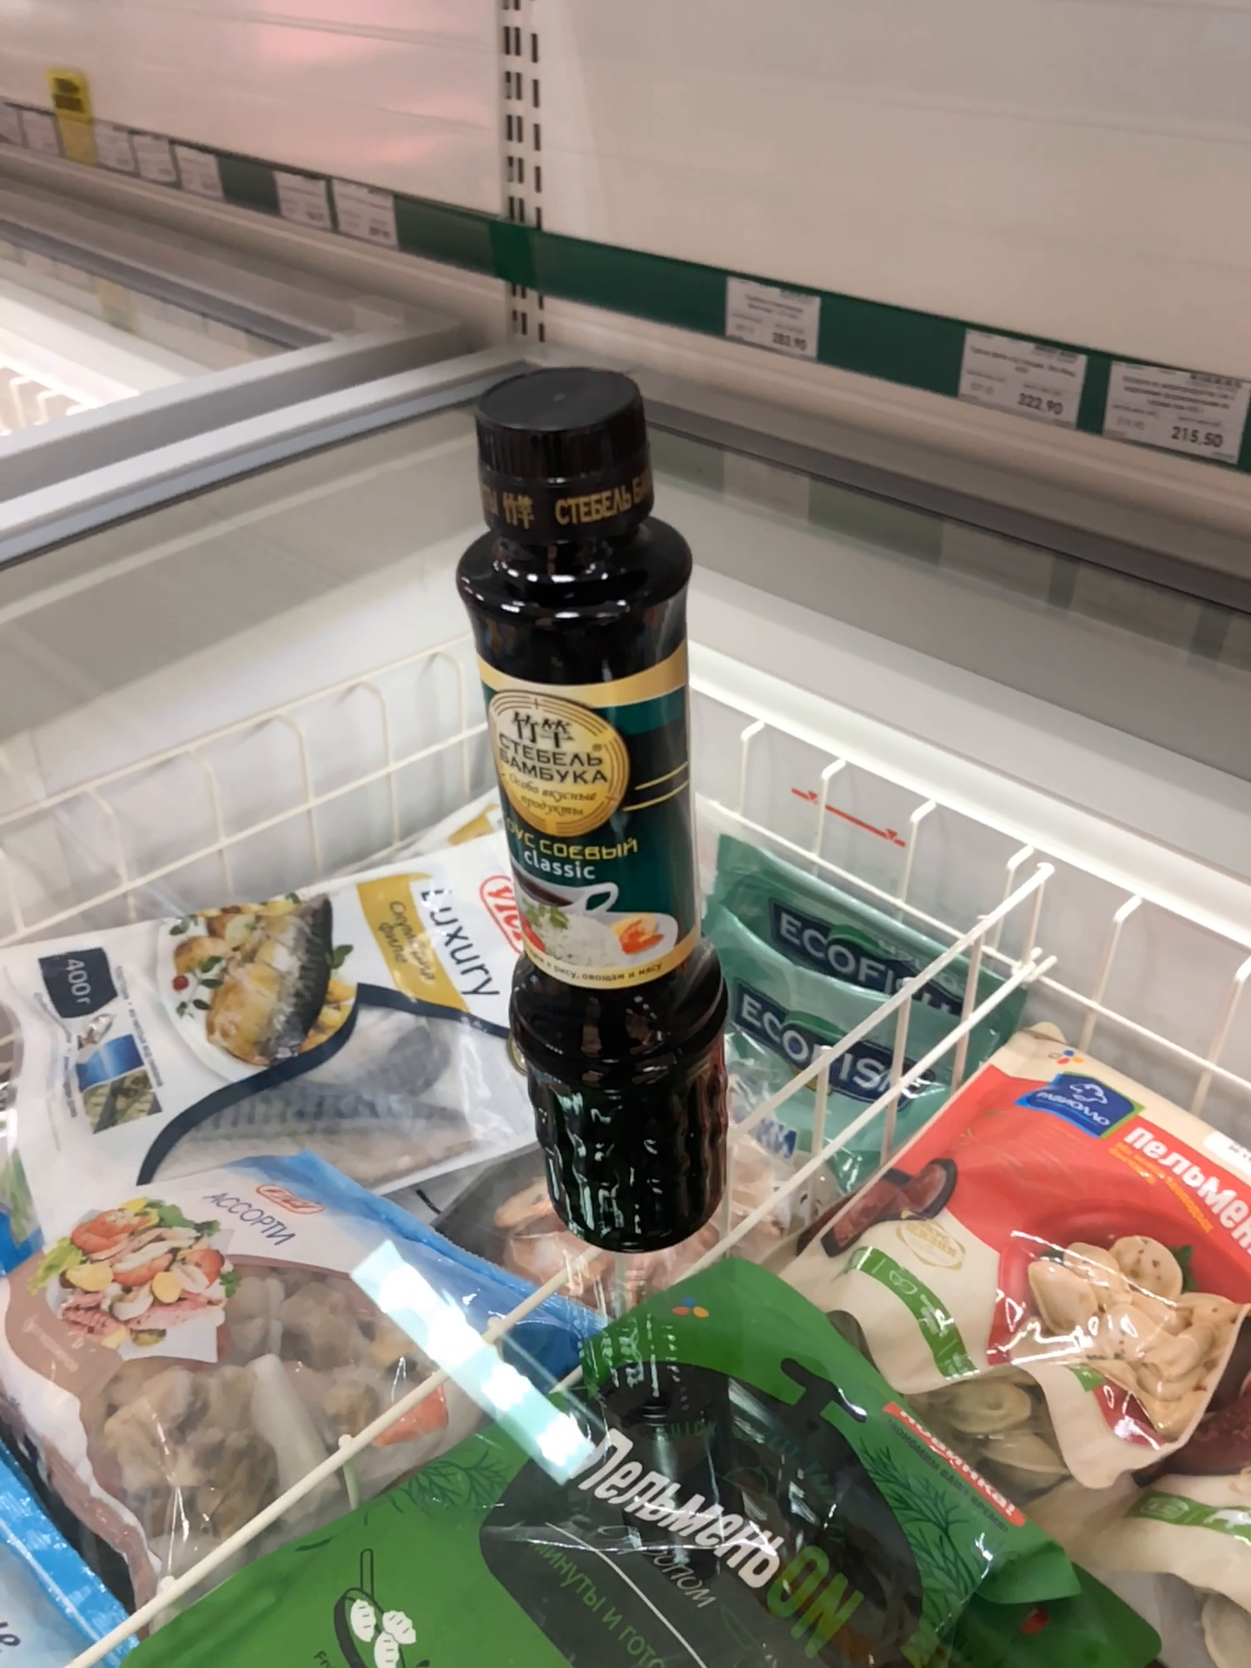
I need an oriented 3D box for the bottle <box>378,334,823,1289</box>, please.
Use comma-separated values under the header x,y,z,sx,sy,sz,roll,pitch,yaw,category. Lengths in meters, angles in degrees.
x,y,z,sx,sy,sz,roll,pitch,yaw,category
-0.001,0.005,0.296,0.058,0.199,0.054,-1,37,1,bottle
